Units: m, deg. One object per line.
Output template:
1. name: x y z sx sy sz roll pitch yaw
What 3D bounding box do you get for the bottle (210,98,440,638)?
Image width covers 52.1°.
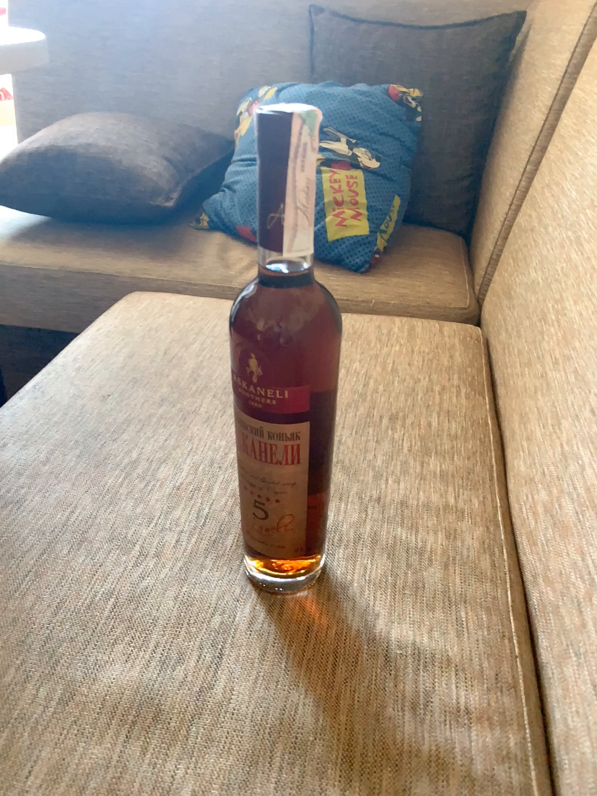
1. bottle: 0.007 -0.002 0.331 0.070 0.279 0.070 2 32 -1
